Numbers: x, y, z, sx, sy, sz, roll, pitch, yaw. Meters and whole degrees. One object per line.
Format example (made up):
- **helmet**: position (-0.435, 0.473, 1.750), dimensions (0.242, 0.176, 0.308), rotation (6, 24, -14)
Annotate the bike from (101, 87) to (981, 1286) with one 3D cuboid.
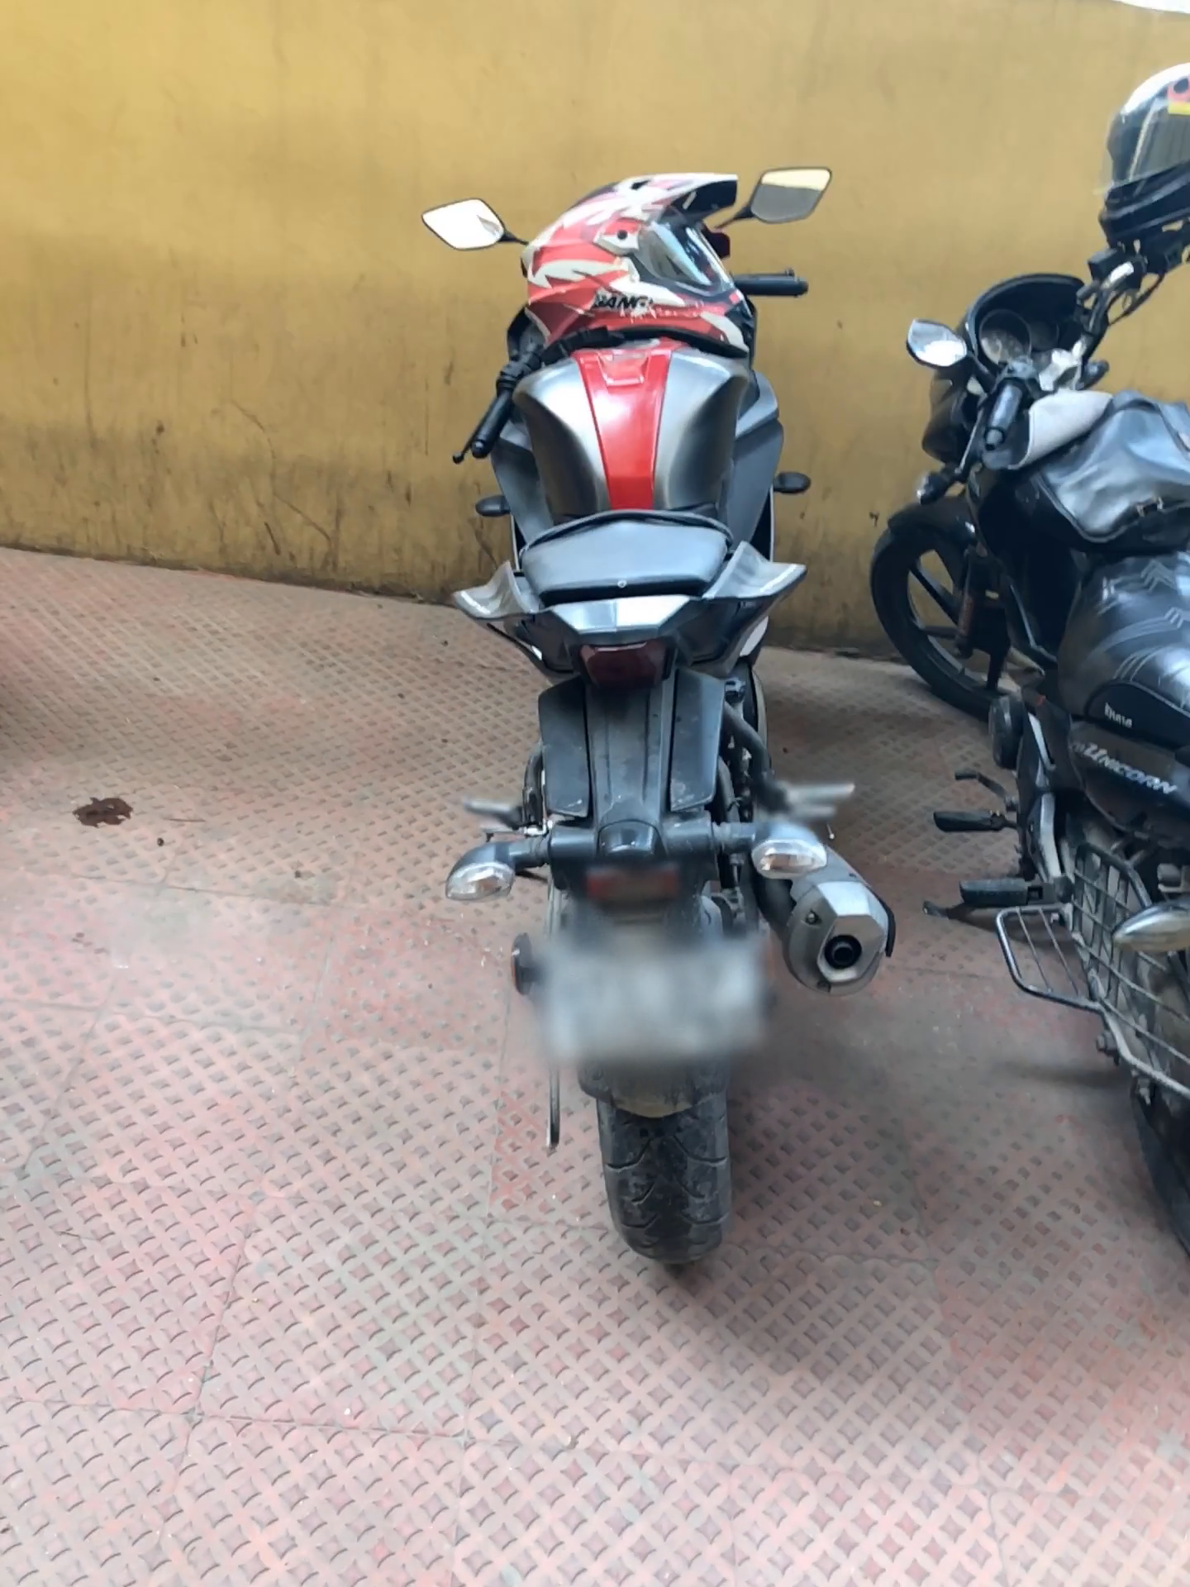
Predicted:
- **bike**: position (-0.193, -0.361, 1.993), dimensions (0.725, 0.870, 1.754), rotation (3, 37, -9)
